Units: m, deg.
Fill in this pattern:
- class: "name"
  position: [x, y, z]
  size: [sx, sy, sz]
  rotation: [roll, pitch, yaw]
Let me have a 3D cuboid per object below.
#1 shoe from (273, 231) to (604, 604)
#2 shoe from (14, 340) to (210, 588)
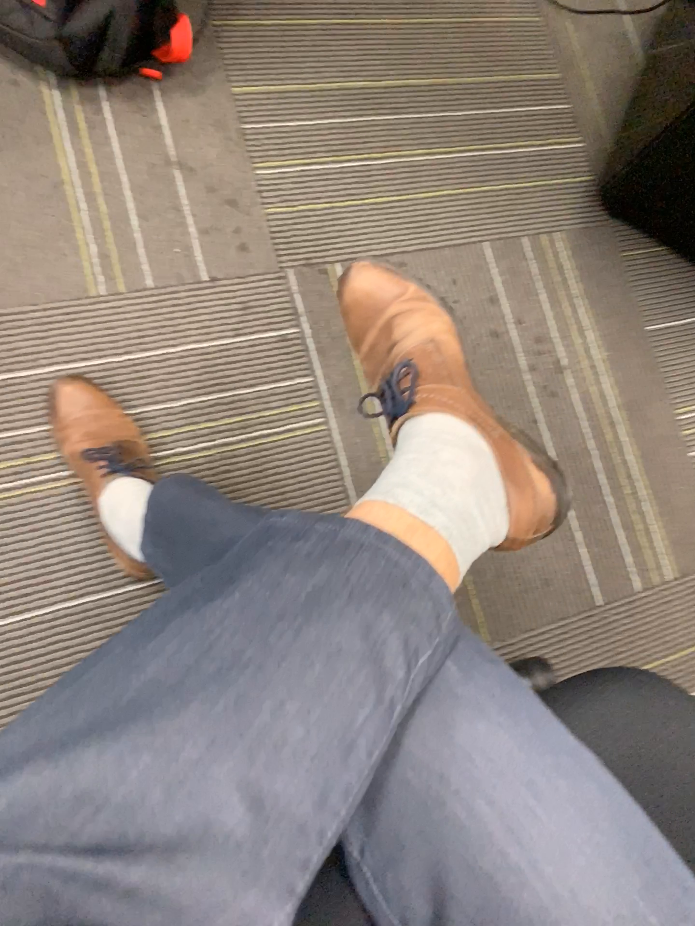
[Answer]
- class: "shoe"
  position: [0.072, -0.042, 0.607]
  size: [0.082, 0.114, 0.293]
  rotation: [-26, 80, -49]
- class: "shoe"
  position: [-0.287, 0.003, 0.871]
  size: [0.112, 0.068, 0.276]
  rotation: [-27, 87, -20]
